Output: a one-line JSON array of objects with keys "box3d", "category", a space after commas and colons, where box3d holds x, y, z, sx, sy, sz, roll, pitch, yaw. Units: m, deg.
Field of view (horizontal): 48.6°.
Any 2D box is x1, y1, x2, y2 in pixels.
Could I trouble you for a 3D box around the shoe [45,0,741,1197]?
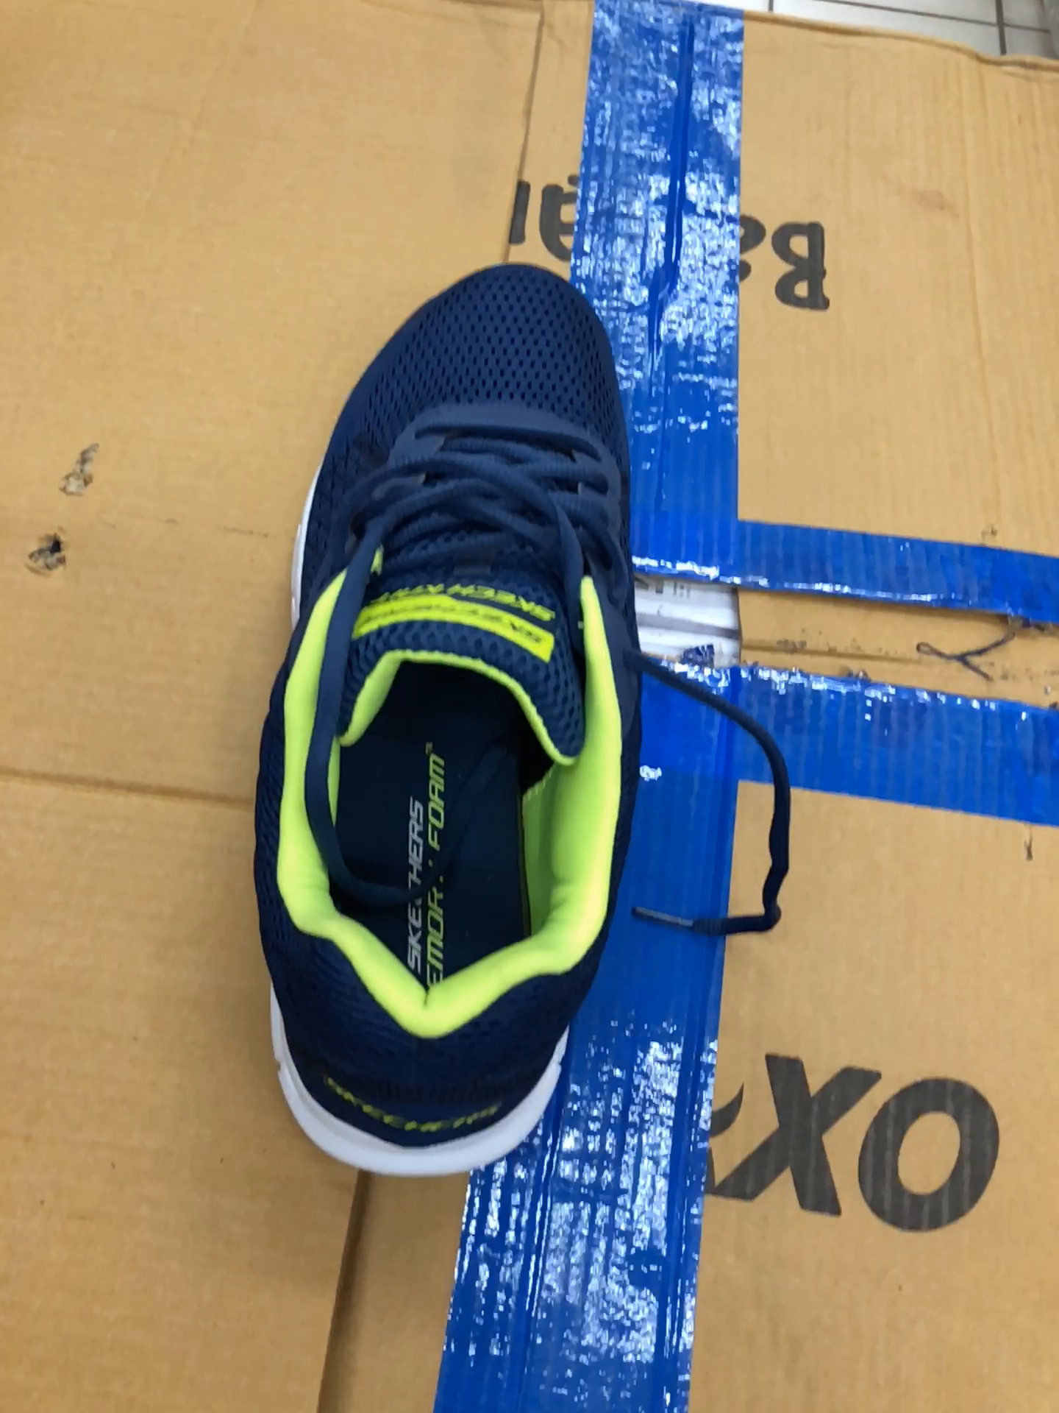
[{"box3d": [-0.015, -0.040, 0.313, 0.106, 0.146, 0.307, 6, 66, -2], "category": "shoe"}]
